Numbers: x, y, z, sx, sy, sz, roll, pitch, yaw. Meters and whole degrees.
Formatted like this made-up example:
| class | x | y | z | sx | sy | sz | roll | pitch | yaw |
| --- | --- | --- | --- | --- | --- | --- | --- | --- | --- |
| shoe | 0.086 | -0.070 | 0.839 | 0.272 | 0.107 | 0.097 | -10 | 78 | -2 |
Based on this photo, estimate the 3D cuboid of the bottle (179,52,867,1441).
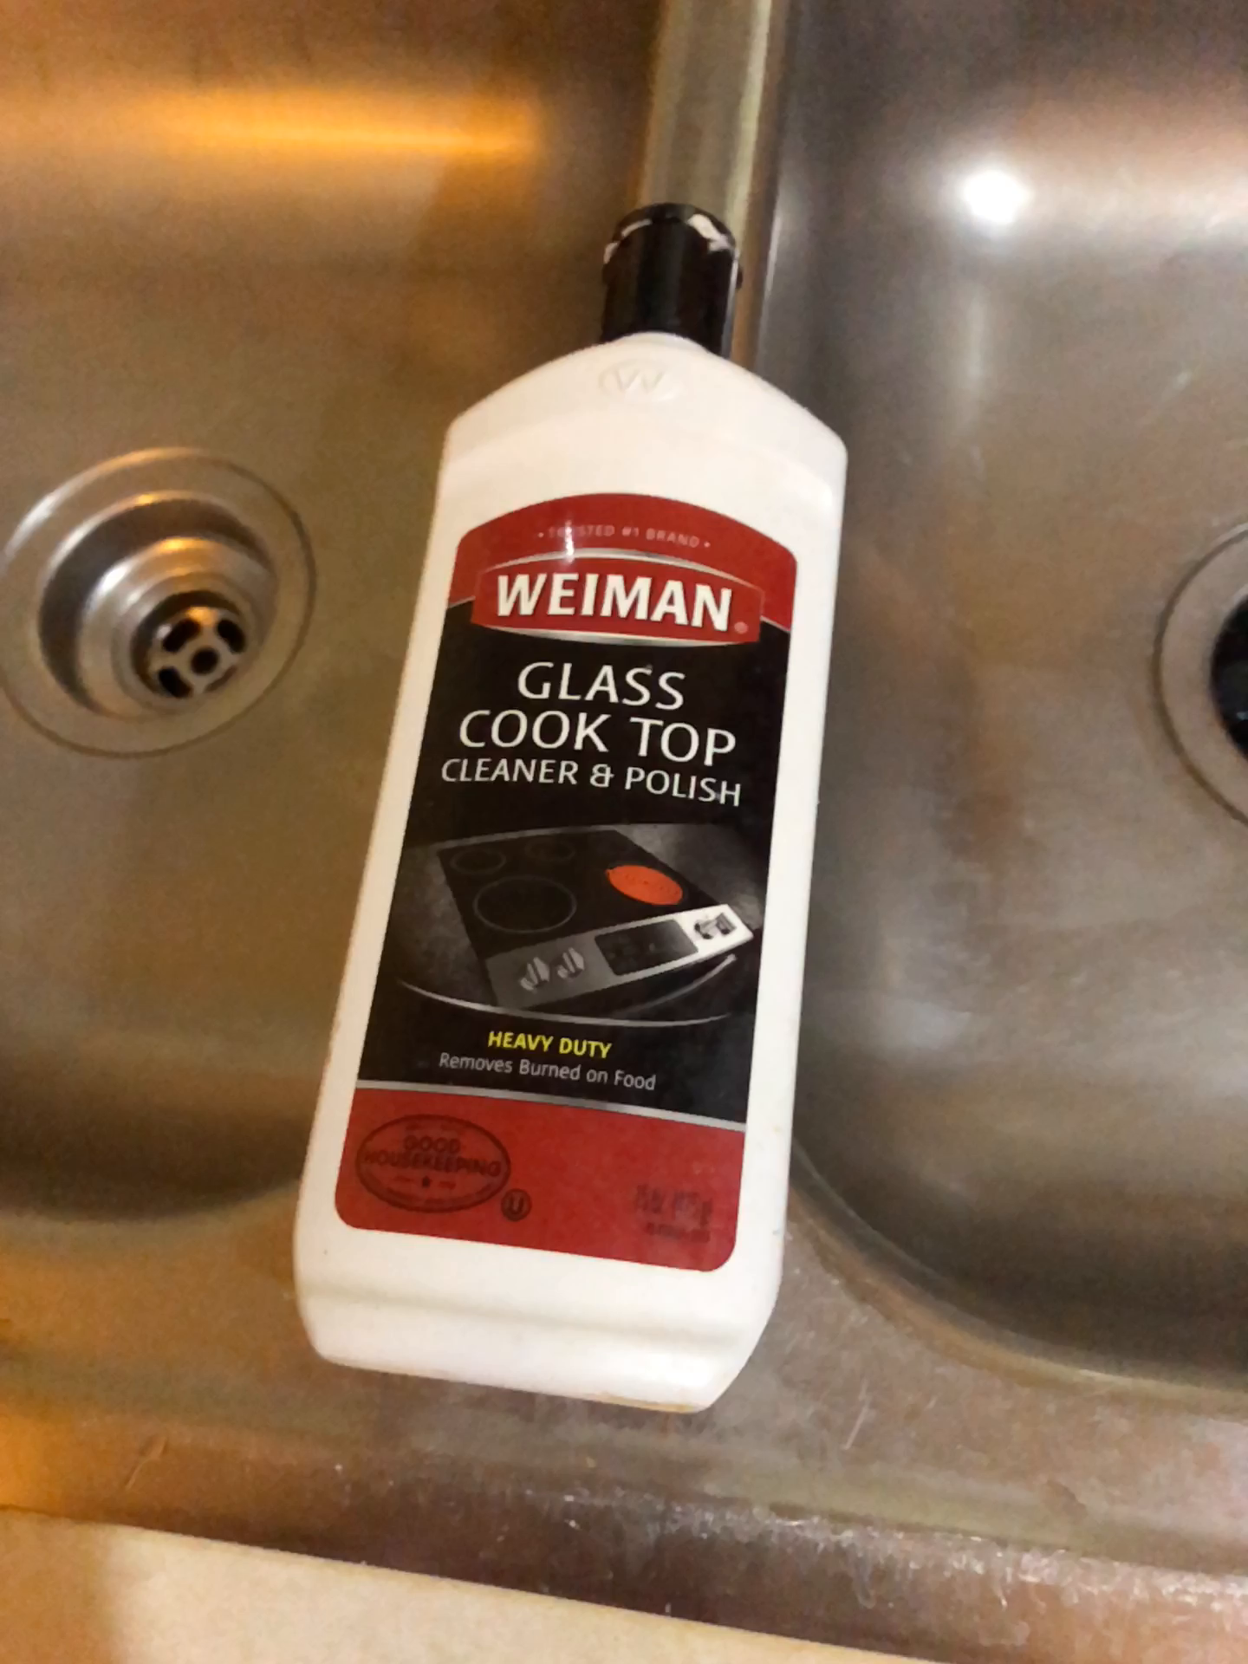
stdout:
| class | x | y | z | sx | sy | sz | roll | pitch | yaw |
| --- | --- | --- | --- | --- | --- | --- | --- | --- | --- |
| bottle | -0.005 | -0.027 | 0.250 | 0.080 | 0.050 | 0.240 | 4 | 71 | 8 |
